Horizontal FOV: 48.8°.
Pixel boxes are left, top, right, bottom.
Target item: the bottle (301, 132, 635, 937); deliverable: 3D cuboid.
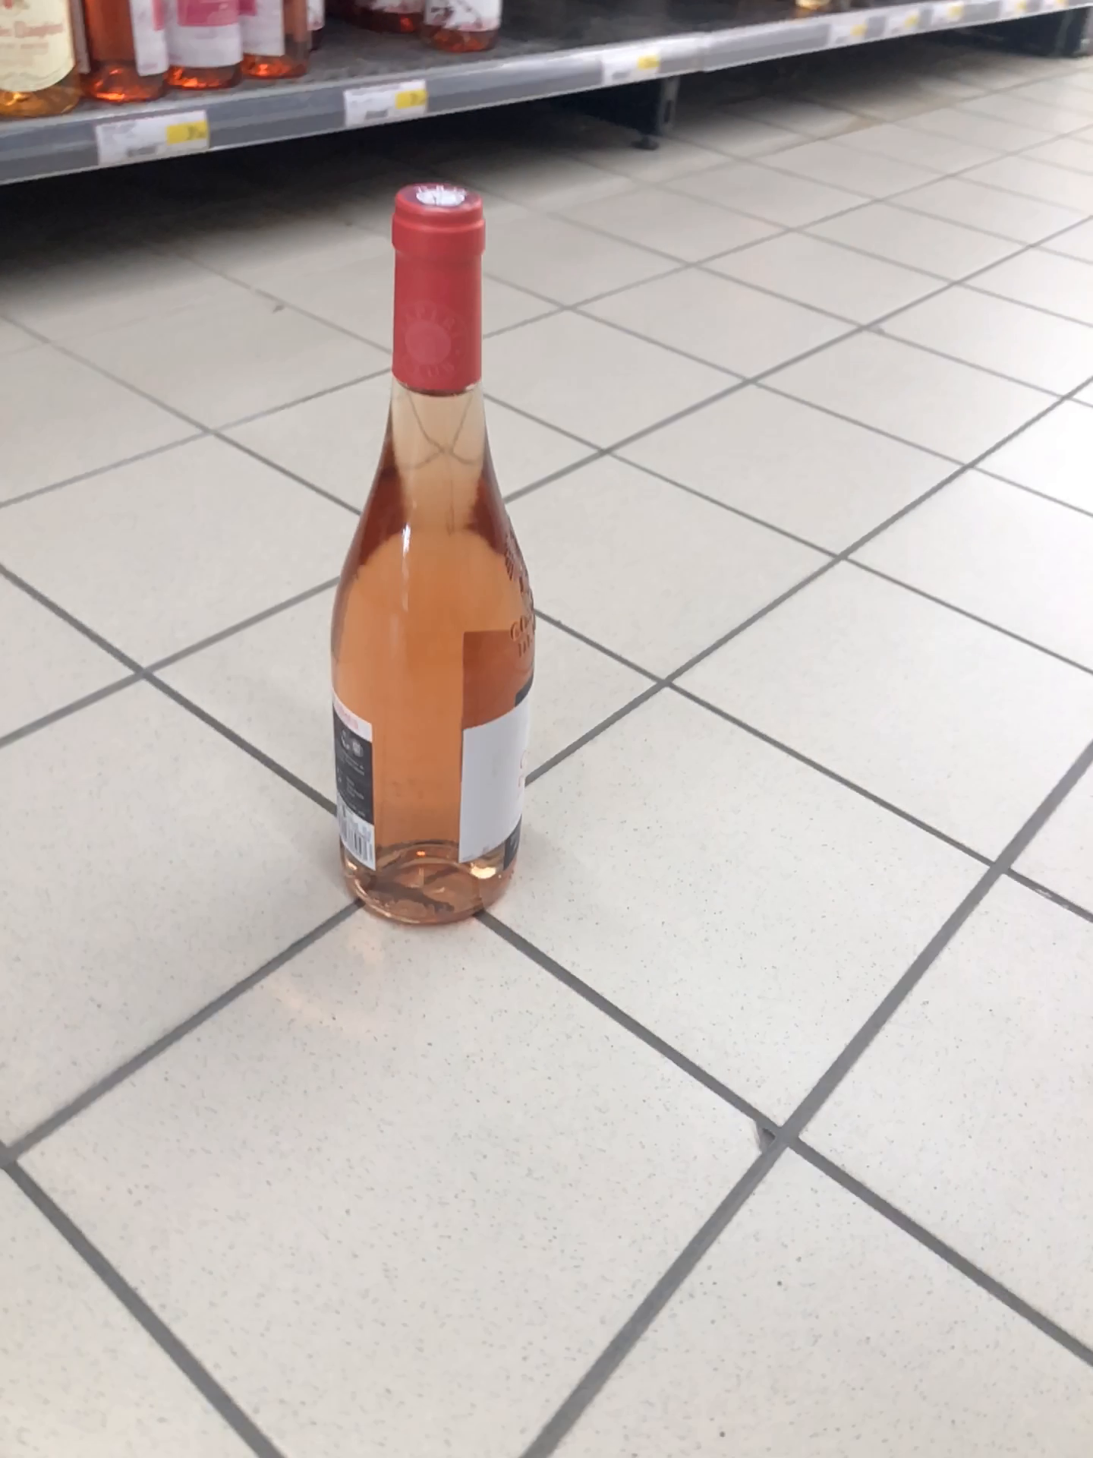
[{"bbox_3d":[-0.039,-0.054,0.443,0.090,0.278,0.090,4,38,-3],"label":"bottle"}]
